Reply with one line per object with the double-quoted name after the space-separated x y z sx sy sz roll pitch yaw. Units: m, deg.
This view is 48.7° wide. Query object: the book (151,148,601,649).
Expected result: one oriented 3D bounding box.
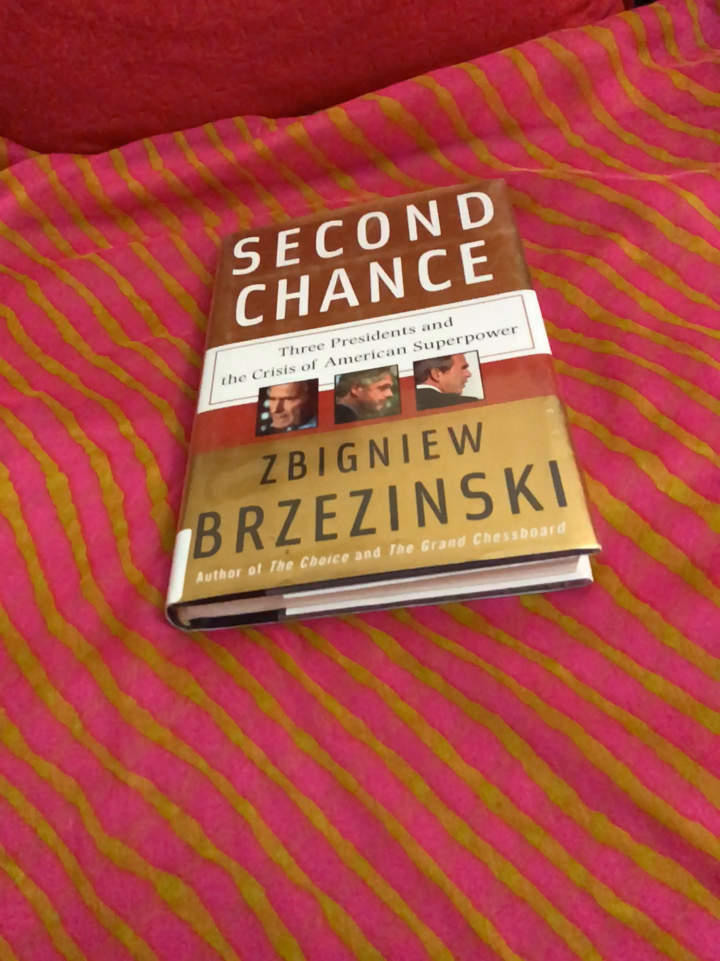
0.002 -0.043 0.318 0.140 0.037 0.200 -12 51 12 "book"
